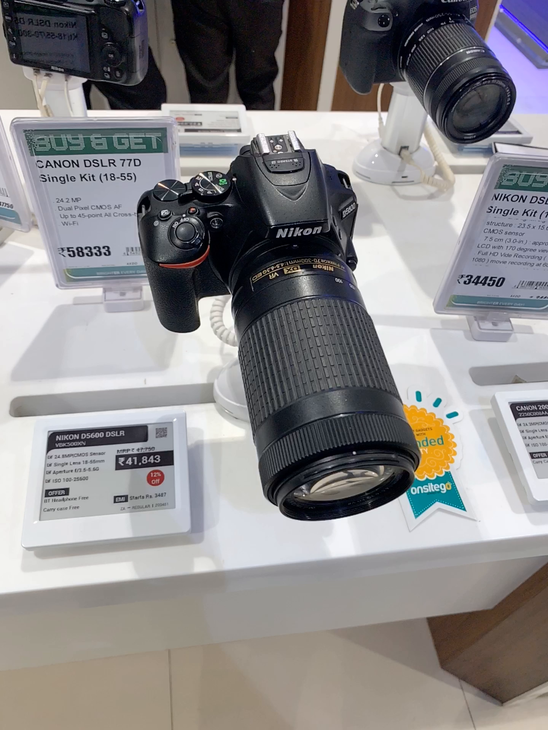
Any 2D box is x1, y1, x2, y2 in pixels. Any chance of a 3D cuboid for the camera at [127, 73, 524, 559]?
[{"bbox_3d":[-0.004,-0.057,0.308,0.130,0.080,0.281,-6,51,-10],"label":"camera"}]
